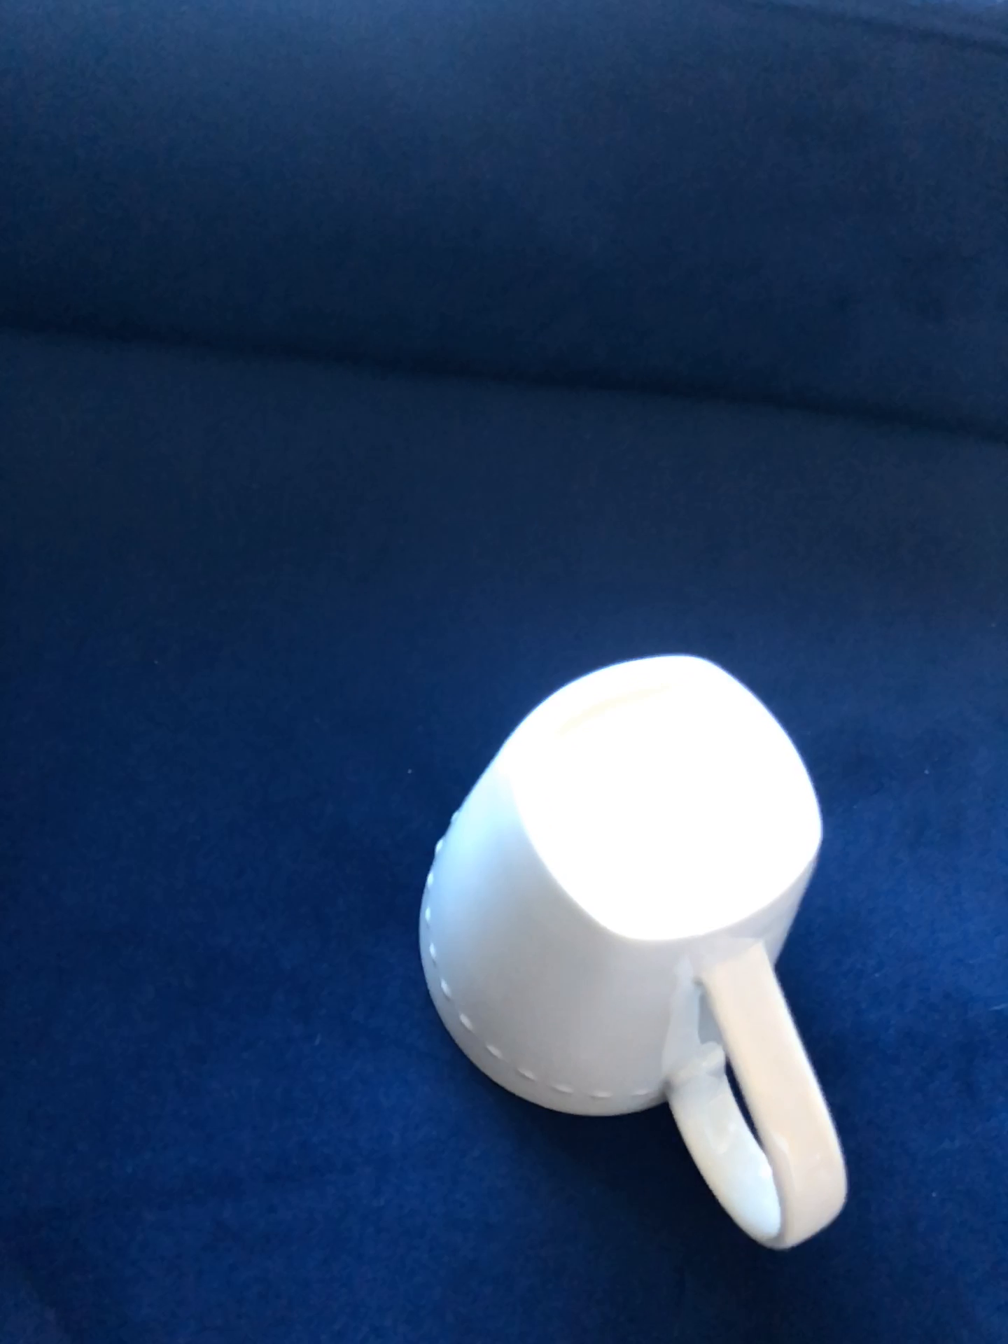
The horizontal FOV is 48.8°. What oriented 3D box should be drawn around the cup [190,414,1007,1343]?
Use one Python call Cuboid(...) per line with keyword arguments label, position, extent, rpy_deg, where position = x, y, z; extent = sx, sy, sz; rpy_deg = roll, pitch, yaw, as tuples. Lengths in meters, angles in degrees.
Cuboid(label="cup", position=(0.020, 0.045, 0.237), extent=(0.110, 0.090, 0.150), rpy_deg=(-25, 68, -23))
